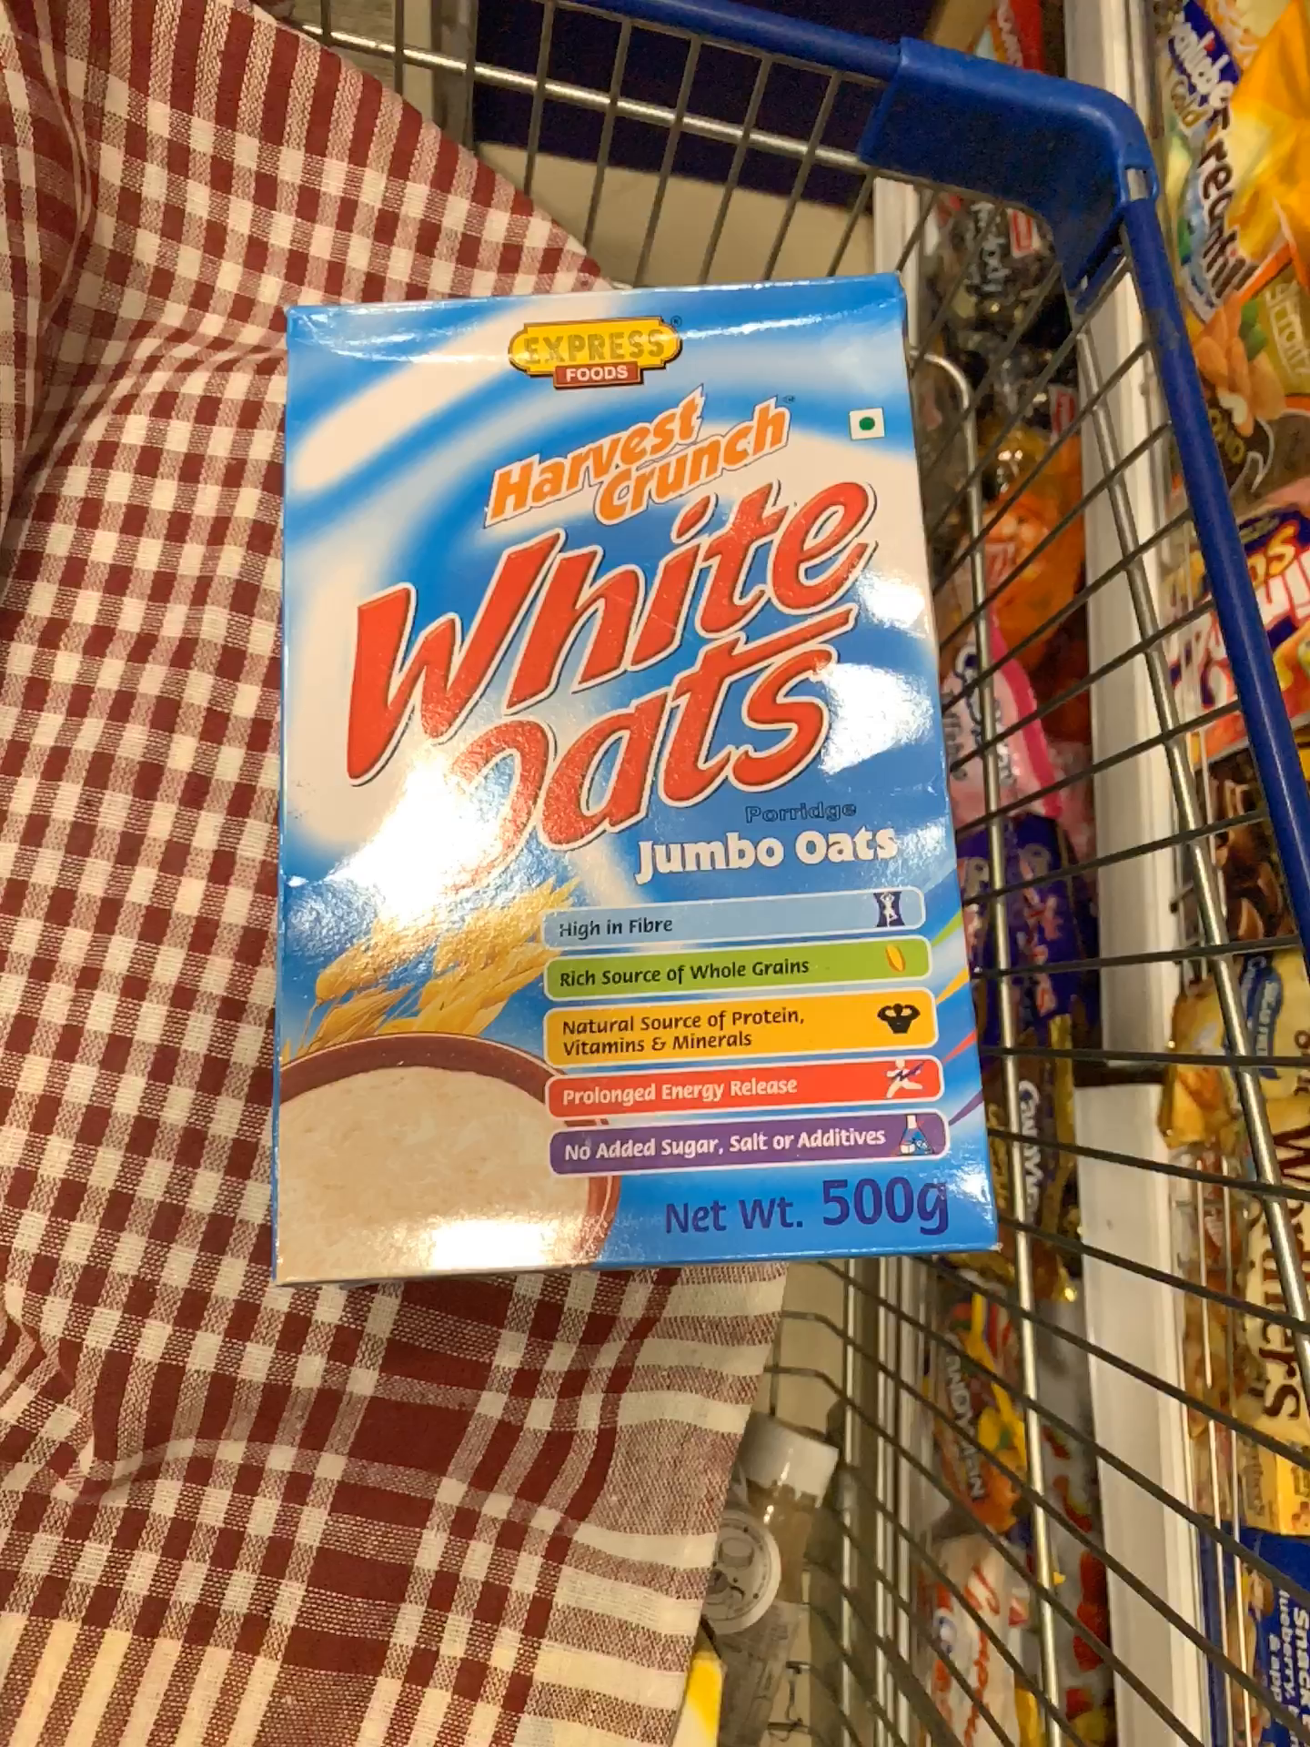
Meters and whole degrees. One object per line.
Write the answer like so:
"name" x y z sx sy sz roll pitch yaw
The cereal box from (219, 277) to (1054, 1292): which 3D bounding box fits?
"cereal box" -0.008 -0.020 0.293 0.150 0.060 0.200 -3 77 -1
